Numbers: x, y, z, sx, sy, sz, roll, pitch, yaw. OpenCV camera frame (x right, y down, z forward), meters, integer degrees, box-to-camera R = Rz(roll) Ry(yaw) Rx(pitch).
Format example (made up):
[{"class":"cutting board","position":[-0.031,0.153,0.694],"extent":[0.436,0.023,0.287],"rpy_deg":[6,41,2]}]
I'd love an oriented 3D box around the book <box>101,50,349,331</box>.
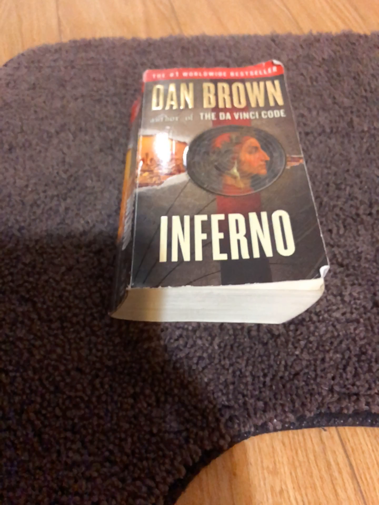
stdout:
[{"class":"book","position":[0.016,-0.052,0.282],"extent":[0.120,0.050,0.201],"rpy_deg":[0,57,-1]}]
